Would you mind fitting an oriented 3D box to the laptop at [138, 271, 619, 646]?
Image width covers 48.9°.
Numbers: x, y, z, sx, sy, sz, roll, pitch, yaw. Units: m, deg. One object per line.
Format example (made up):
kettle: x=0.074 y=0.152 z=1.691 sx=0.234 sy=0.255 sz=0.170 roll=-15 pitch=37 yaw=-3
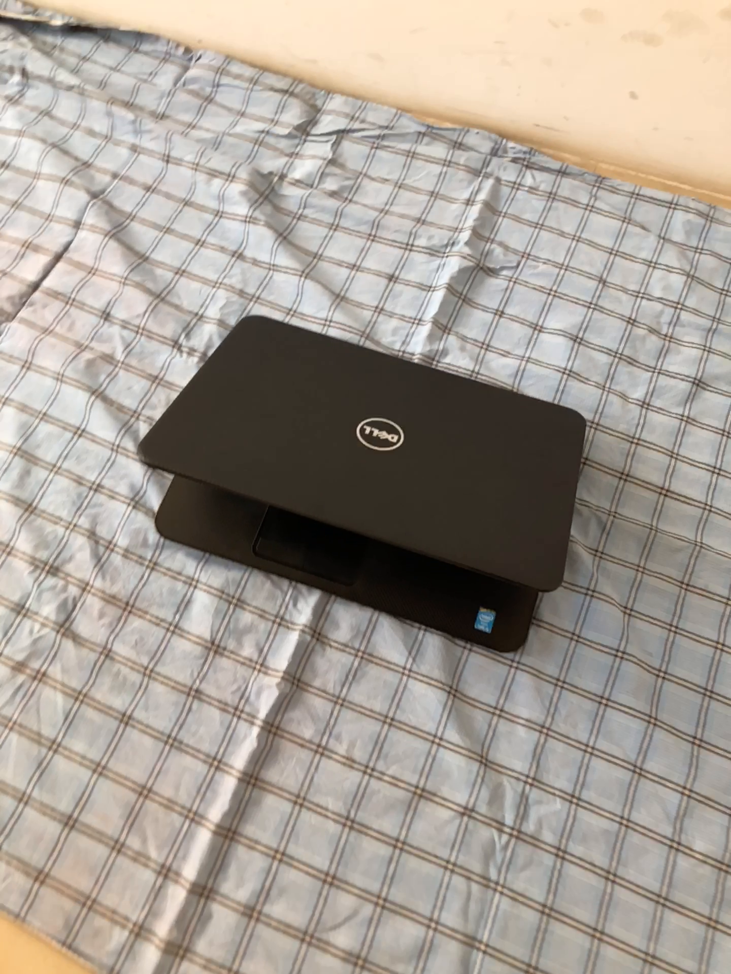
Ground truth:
laptop: x=0.016 y=-0.028 z=0.727 sx=0.350 sy=0.099 sz=0.223 roll=18 pitch=70 yaw=5
